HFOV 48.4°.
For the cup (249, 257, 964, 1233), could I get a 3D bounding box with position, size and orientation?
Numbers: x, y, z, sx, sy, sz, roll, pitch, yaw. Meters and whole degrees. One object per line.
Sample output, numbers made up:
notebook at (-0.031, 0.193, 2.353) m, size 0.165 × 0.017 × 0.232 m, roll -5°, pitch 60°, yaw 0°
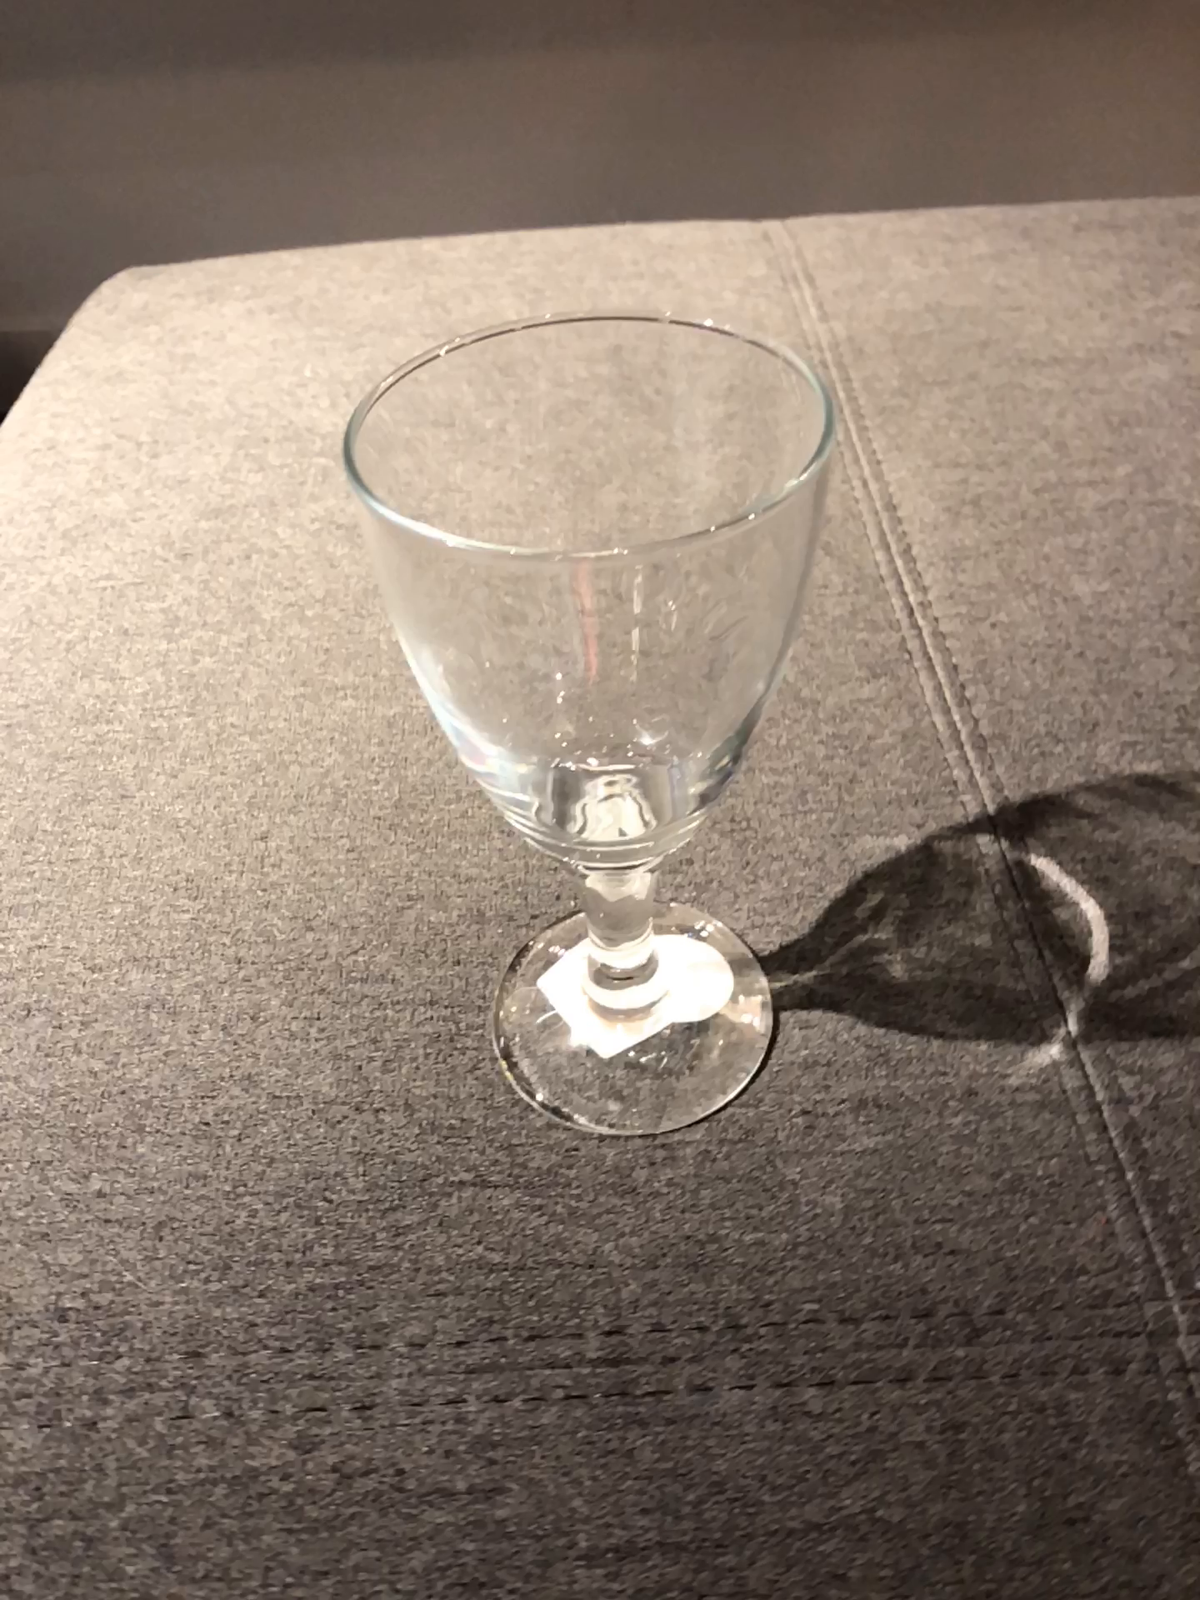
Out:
cup at (0.000, -0.006, 0.285) m, size 0.090 × 0.169 × 0.090 m, roll -1°, pitch 45°, yaw 1°
